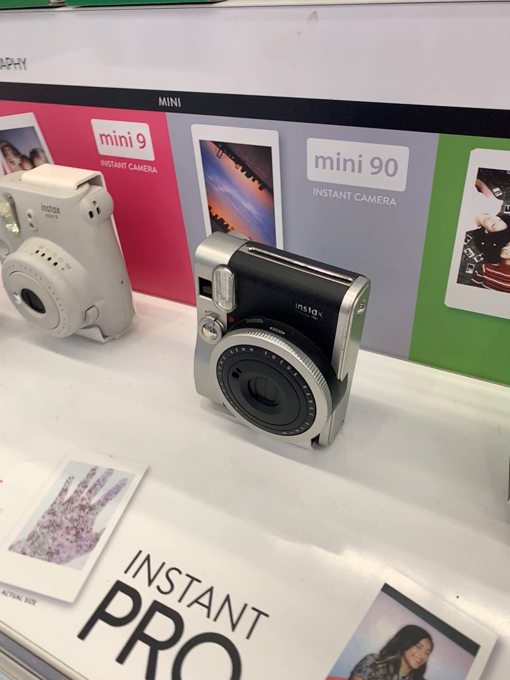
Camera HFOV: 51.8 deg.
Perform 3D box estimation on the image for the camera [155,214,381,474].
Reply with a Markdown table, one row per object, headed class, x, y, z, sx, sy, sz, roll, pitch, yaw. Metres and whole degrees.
| class | x | y | z | sx | sy | sz | roll | pitch | yaw |
| --- | --- | --- | --- | --- | --- | --- | --- | --- | --- |
| camera | 0.006 | 0.002 | 0.294 | 0.100 | 0.109 | 0.050 | 22 | 45 | 25 |
